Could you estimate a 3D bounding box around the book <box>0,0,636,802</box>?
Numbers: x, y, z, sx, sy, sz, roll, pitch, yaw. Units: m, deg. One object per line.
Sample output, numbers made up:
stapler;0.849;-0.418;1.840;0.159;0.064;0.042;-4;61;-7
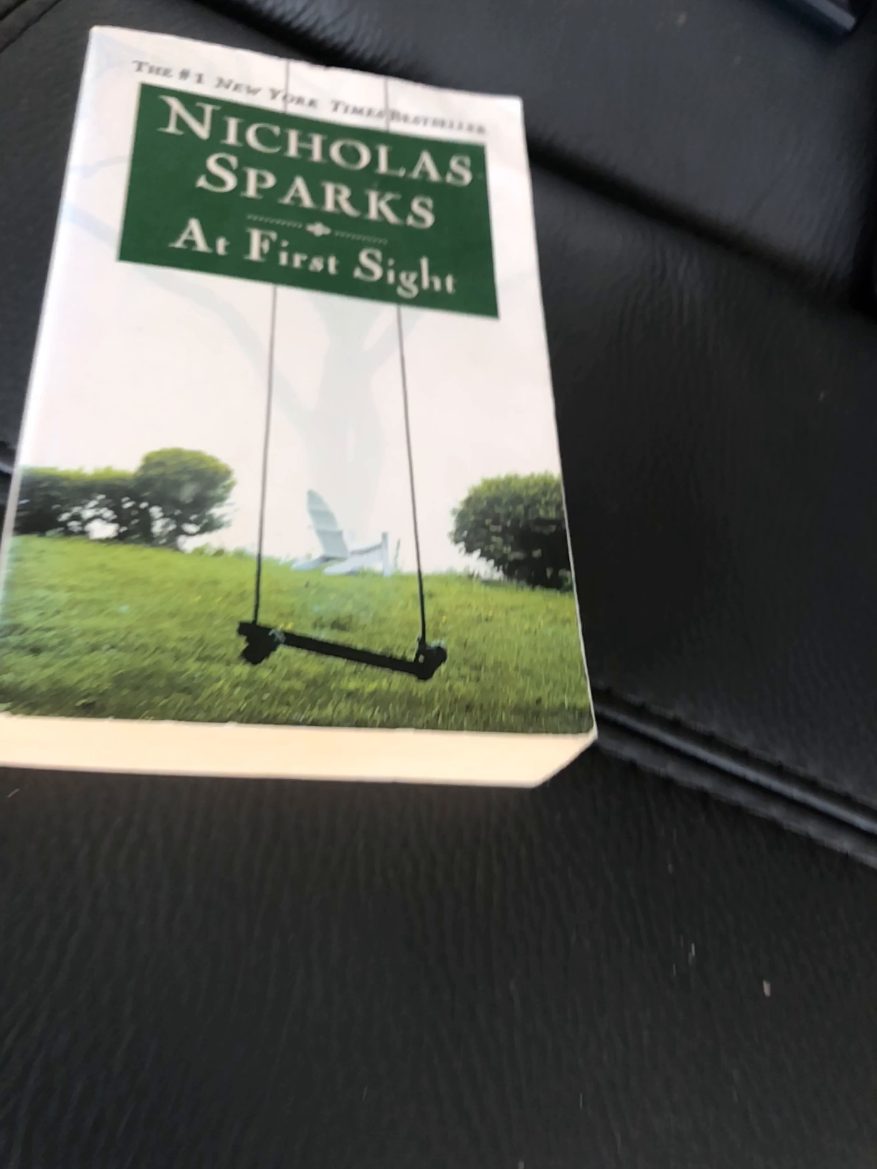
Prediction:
book;-0.029;-0.052;0.218;0.120;0.030;0.190;5;63;-16
